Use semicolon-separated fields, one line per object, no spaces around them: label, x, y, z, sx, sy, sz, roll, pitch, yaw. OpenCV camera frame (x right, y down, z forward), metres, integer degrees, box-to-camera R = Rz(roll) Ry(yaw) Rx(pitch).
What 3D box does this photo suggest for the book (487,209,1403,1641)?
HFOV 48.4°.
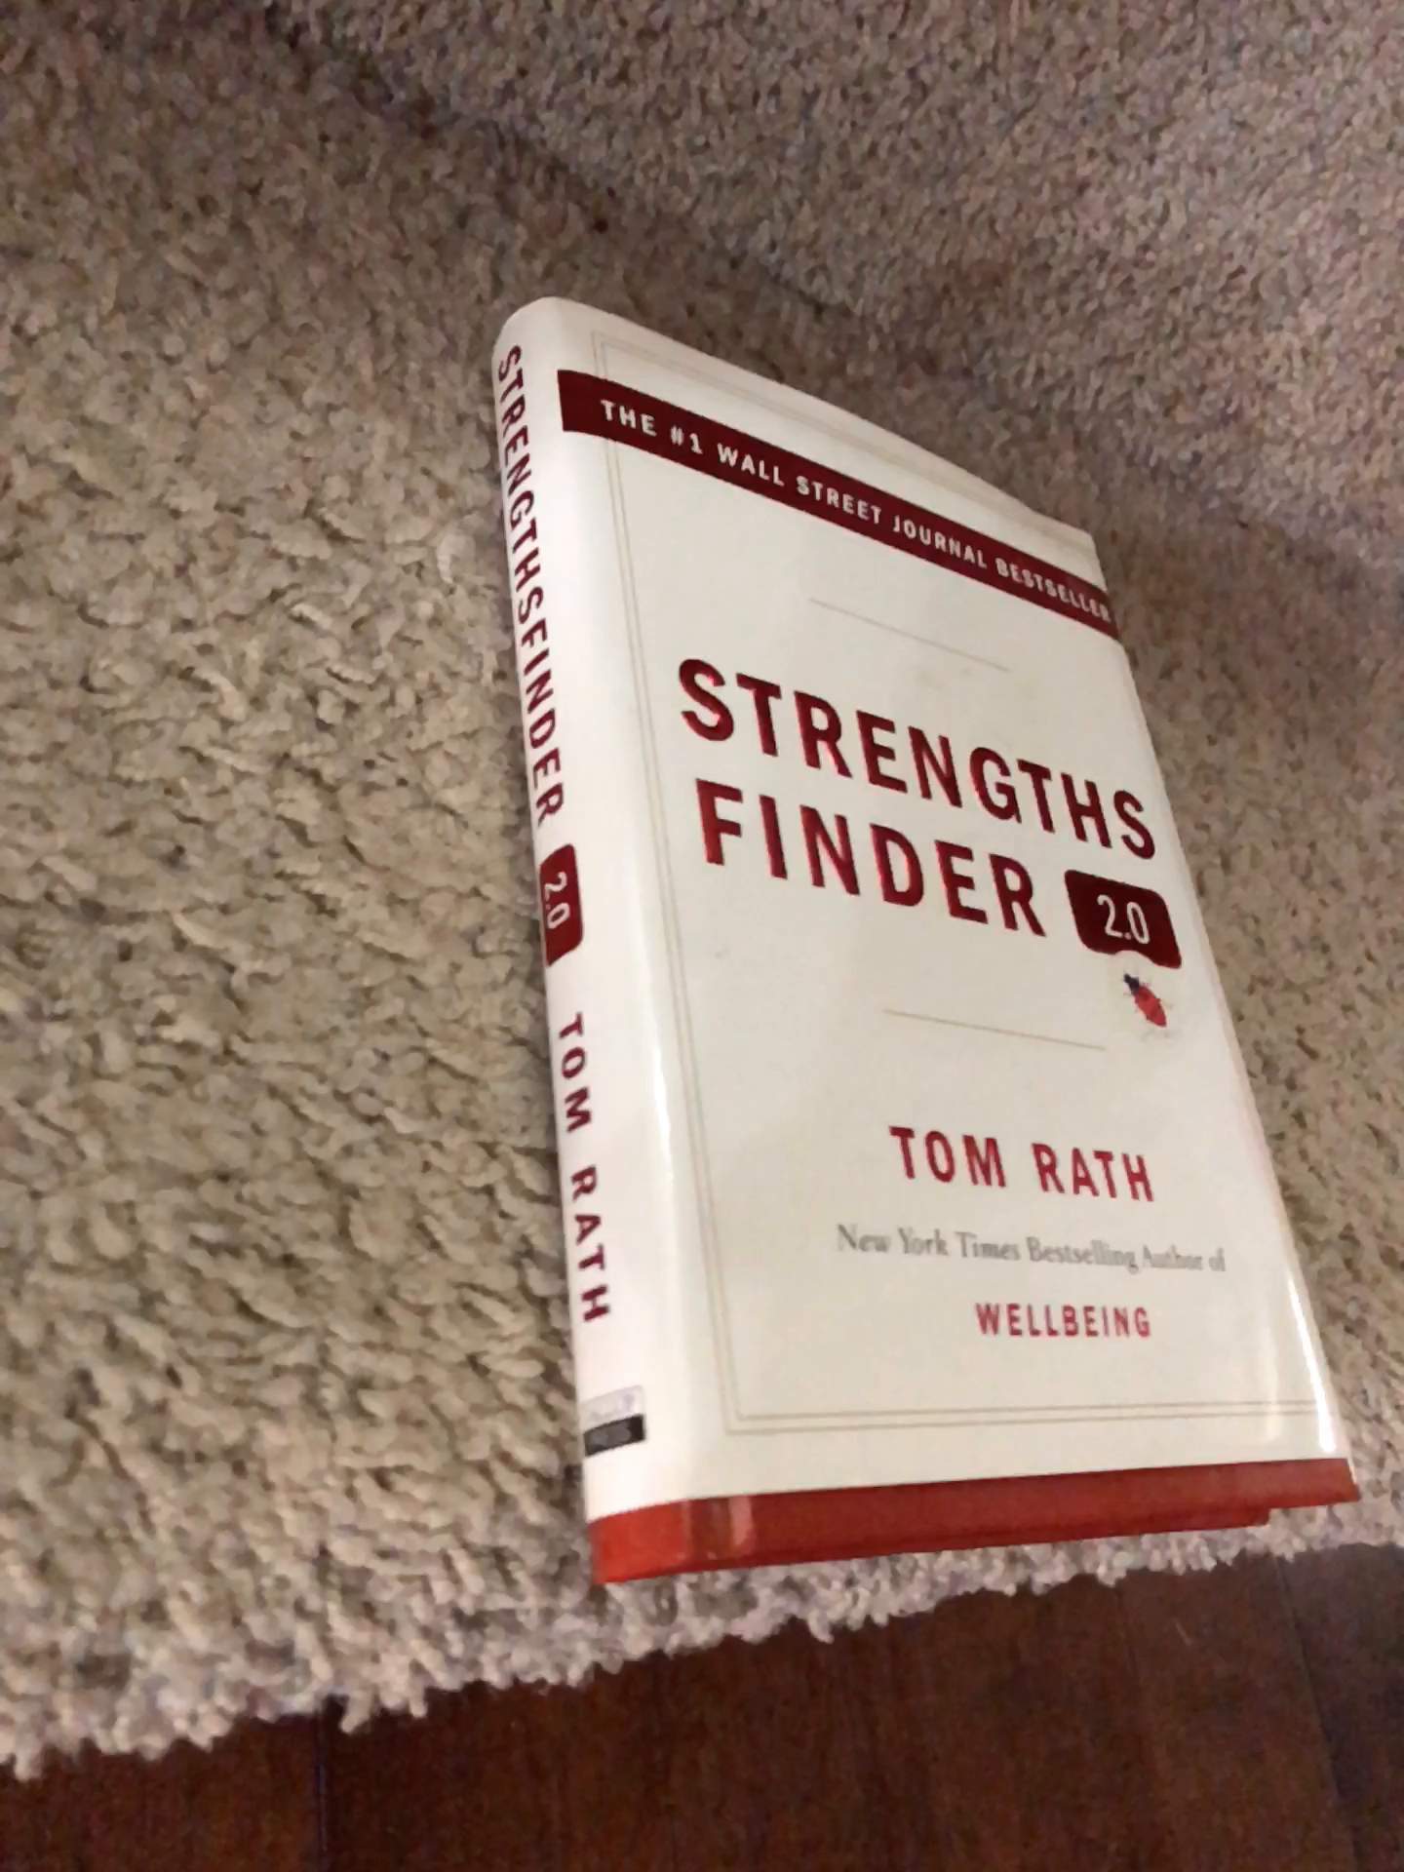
book;0.039;-0.003;0.238;0.137;0.029;0.190;13;59;-35
